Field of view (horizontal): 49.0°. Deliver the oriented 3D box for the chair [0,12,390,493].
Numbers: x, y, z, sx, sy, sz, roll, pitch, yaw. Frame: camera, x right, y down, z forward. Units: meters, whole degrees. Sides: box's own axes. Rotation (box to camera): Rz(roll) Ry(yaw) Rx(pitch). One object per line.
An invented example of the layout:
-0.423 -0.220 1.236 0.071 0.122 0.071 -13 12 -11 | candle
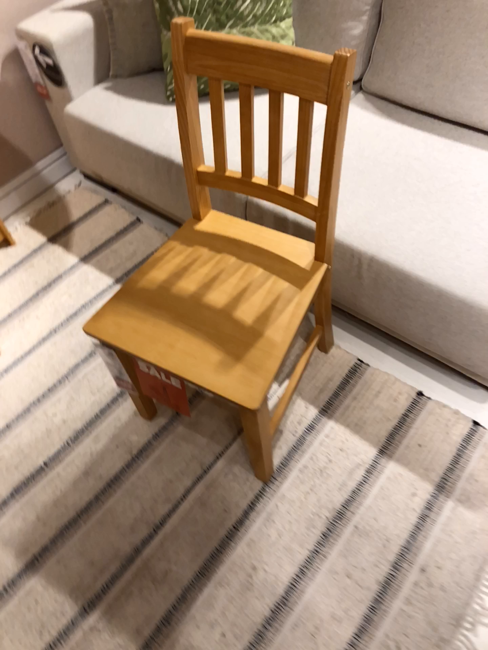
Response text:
-0.048 -0.105 1.172 0.461 0.816 0.522 22 59 21 | chair
